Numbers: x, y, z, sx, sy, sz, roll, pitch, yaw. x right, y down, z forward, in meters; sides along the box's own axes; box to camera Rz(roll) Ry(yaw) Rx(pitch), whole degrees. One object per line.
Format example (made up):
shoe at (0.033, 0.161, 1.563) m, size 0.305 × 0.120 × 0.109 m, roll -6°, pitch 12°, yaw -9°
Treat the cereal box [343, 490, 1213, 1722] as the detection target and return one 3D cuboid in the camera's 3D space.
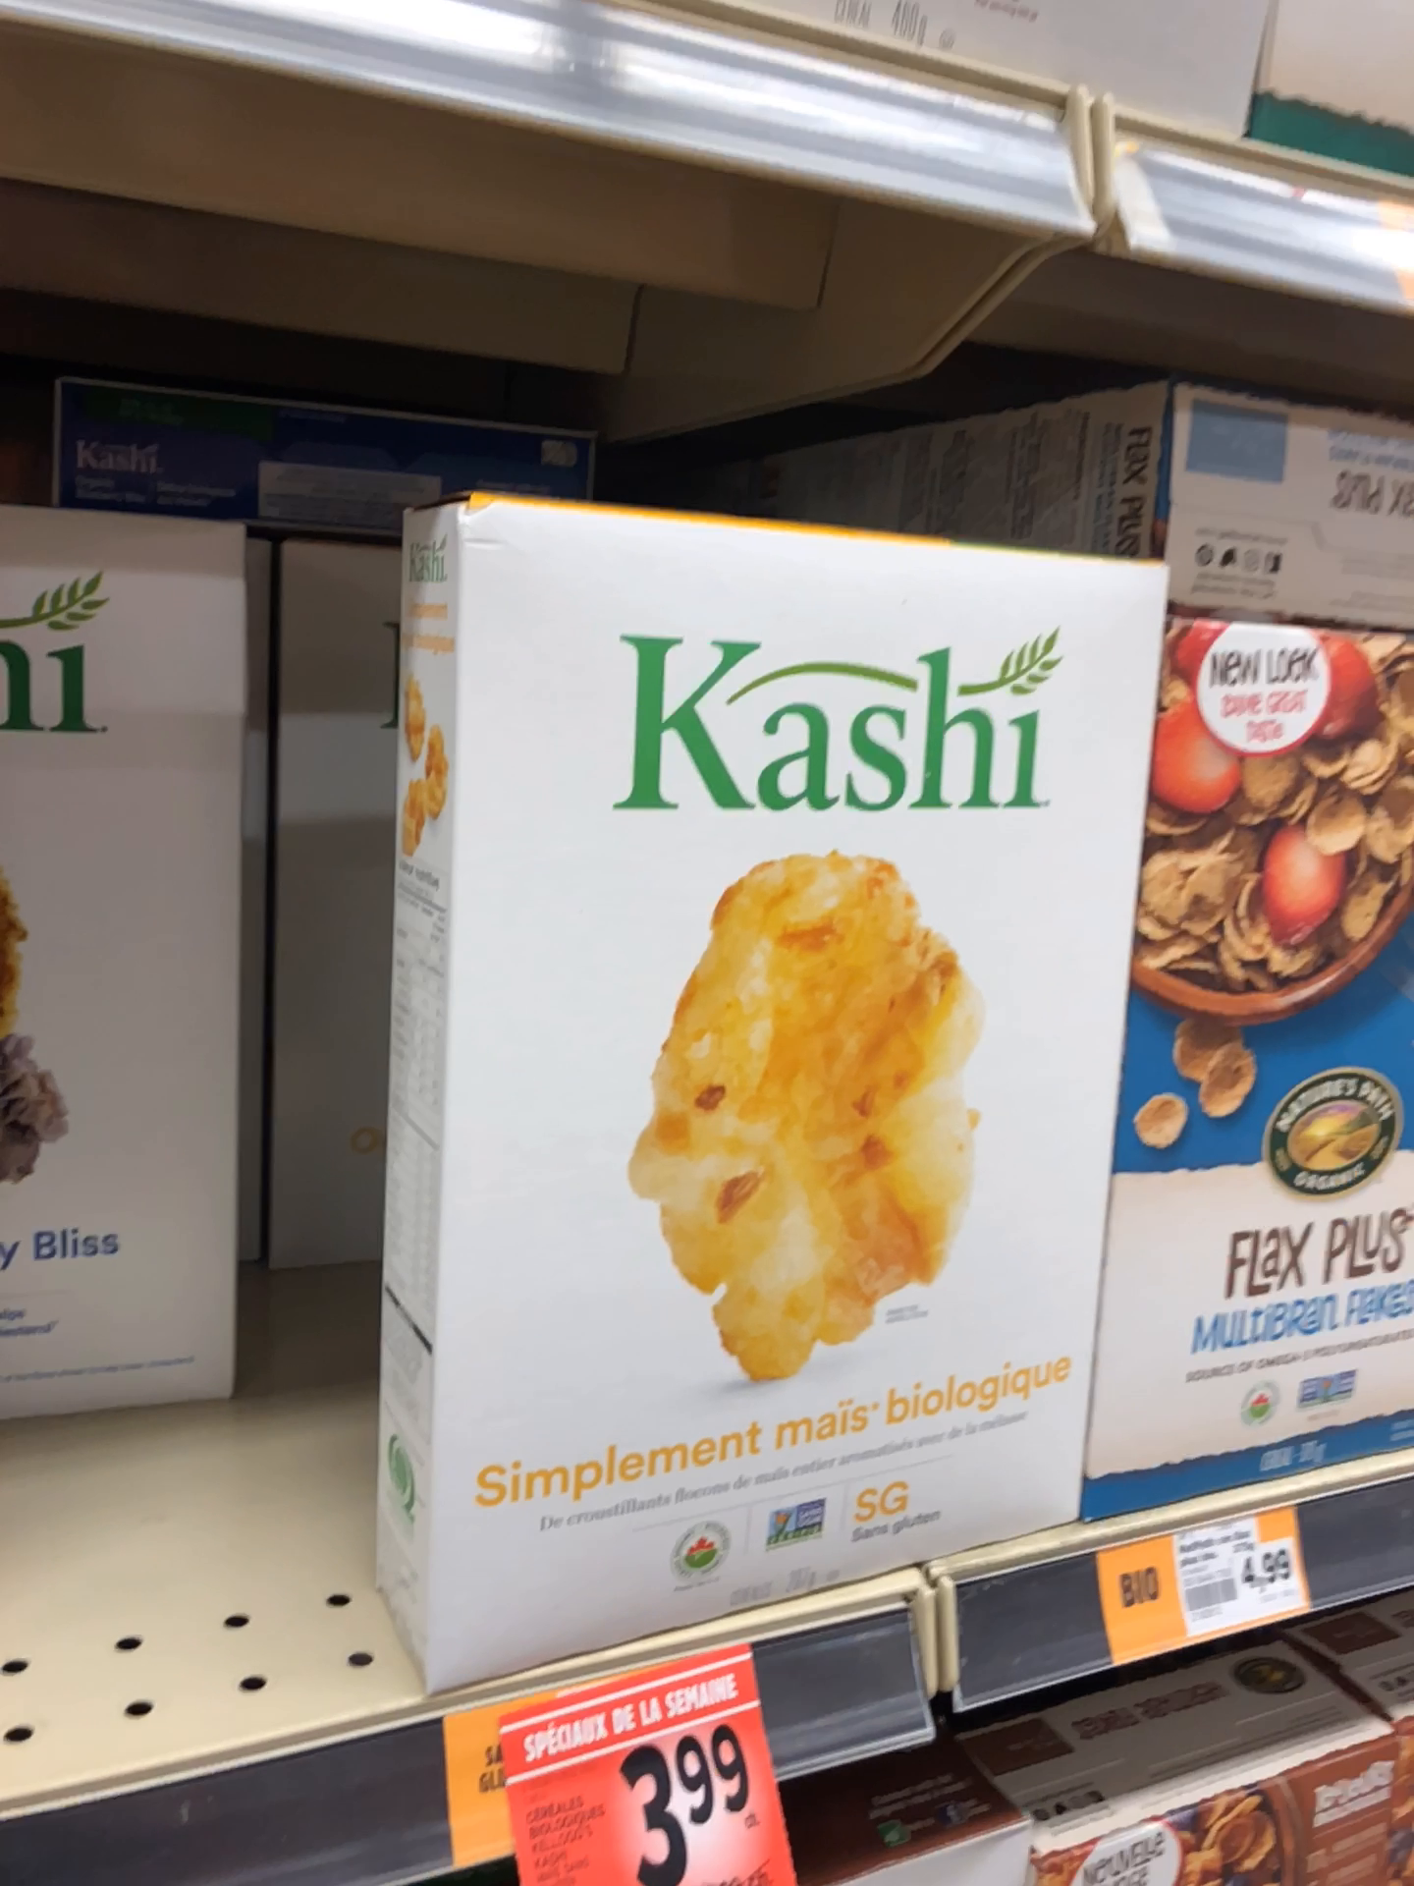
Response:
cereal box at (0.017, 0.034, 0.401) m, size 0.200 × 0.269 × 0.060 m, roll -2°, pitch 12°, yaw -27°
